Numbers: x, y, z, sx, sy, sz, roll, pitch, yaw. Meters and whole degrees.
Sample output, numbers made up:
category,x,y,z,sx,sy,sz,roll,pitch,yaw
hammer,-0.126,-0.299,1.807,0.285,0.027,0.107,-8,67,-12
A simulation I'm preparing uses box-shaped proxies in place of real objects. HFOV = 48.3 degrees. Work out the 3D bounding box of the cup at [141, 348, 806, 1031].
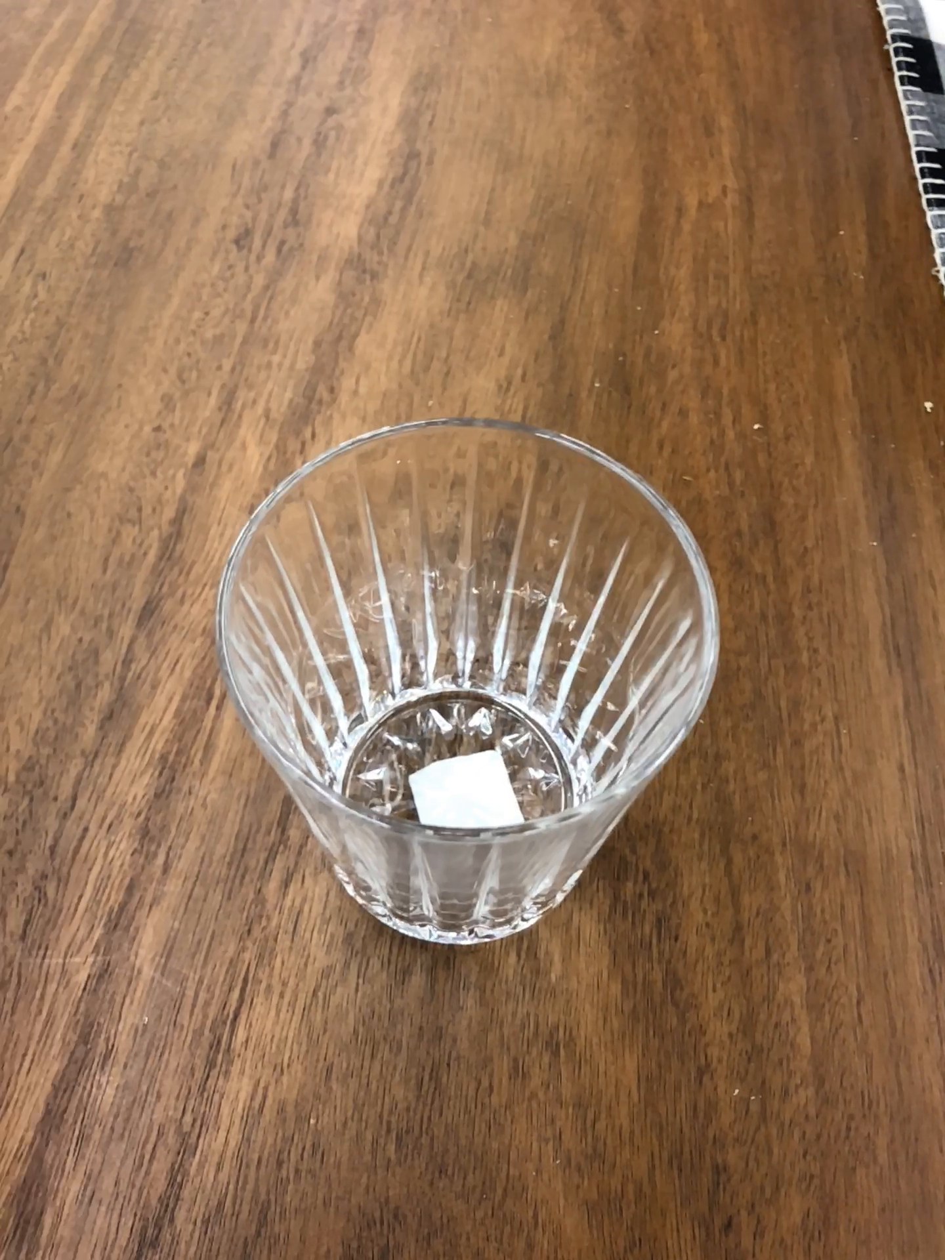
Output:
category,x,y,z,sx,sy,sz,roll,pitch,yaw
cup,0.003,0.015,0.234,0.093,0.093,0.089,0,57,0
